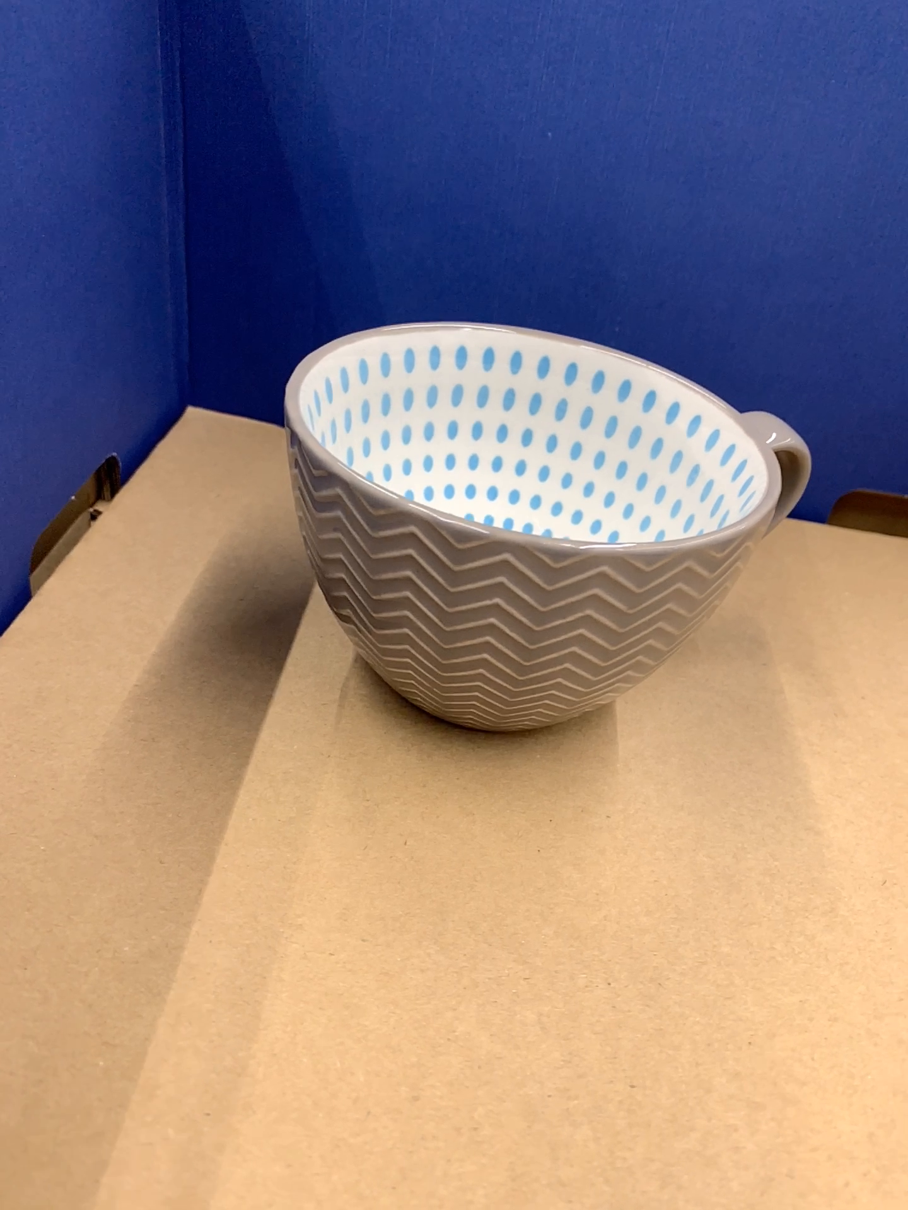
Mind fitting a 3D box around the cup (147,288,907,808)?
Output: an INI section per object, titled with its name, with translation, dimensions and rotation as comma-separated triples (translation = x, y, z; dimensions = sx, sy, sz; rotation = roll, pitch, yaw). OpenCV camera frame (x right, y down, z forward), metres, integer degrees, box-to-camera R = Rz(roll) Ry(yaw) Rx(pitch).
[cup]
translation = 0.017, -0.031, 0.240
dimensions = 0.150, 0.058, 0.109
rotation = -16, 40, -32
